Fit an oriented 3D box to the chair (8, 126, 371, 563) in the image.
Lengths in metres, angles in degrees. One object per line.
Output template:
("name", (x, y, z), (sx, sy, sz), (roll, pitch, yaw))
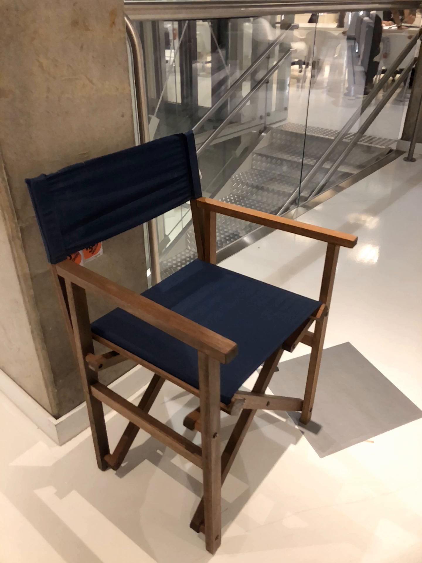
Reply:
("chair", (-0.018, 0.095, 1.159), (0.502, 0.774, 0.583), (22, 37, 33))
